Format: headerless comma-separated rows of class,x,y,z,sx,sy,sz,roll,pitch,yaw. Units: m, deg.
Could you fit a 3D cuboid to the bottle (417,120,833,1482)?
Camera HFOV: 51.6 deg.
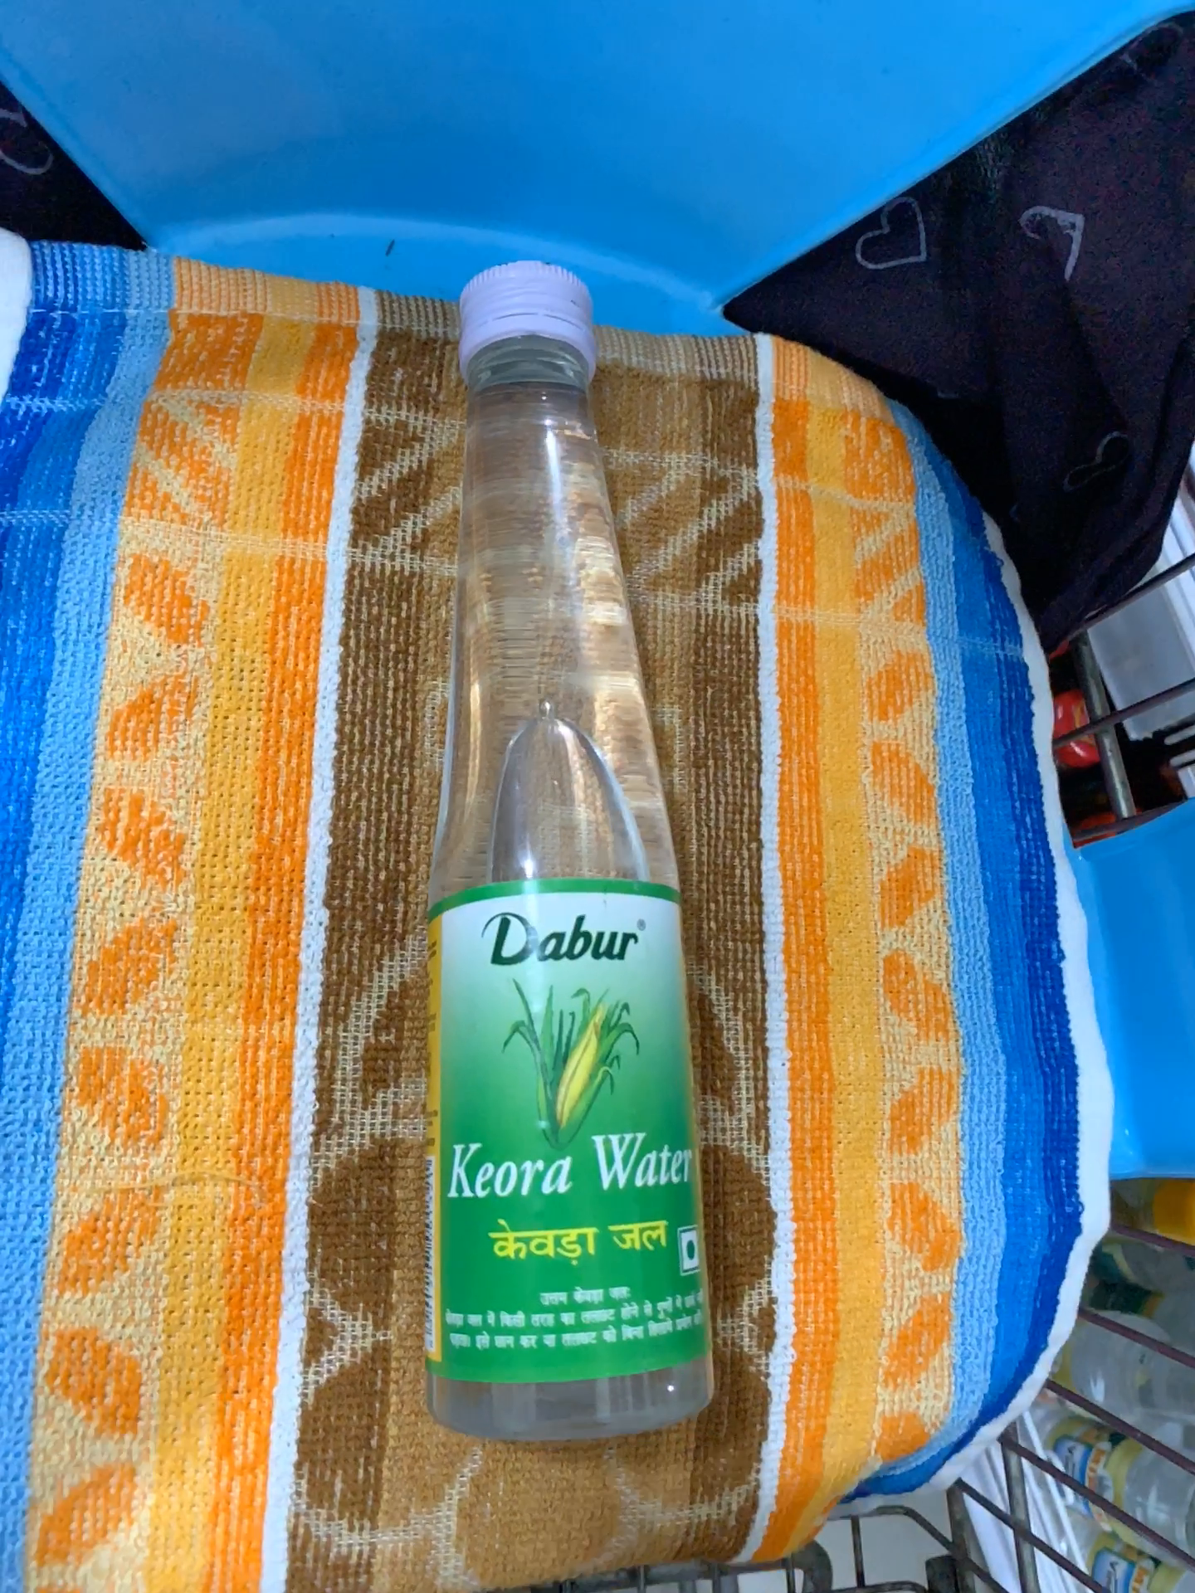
bottle,-0.002,-0.005,0.208,0.050,0.050,0.200,-1,80,-12
